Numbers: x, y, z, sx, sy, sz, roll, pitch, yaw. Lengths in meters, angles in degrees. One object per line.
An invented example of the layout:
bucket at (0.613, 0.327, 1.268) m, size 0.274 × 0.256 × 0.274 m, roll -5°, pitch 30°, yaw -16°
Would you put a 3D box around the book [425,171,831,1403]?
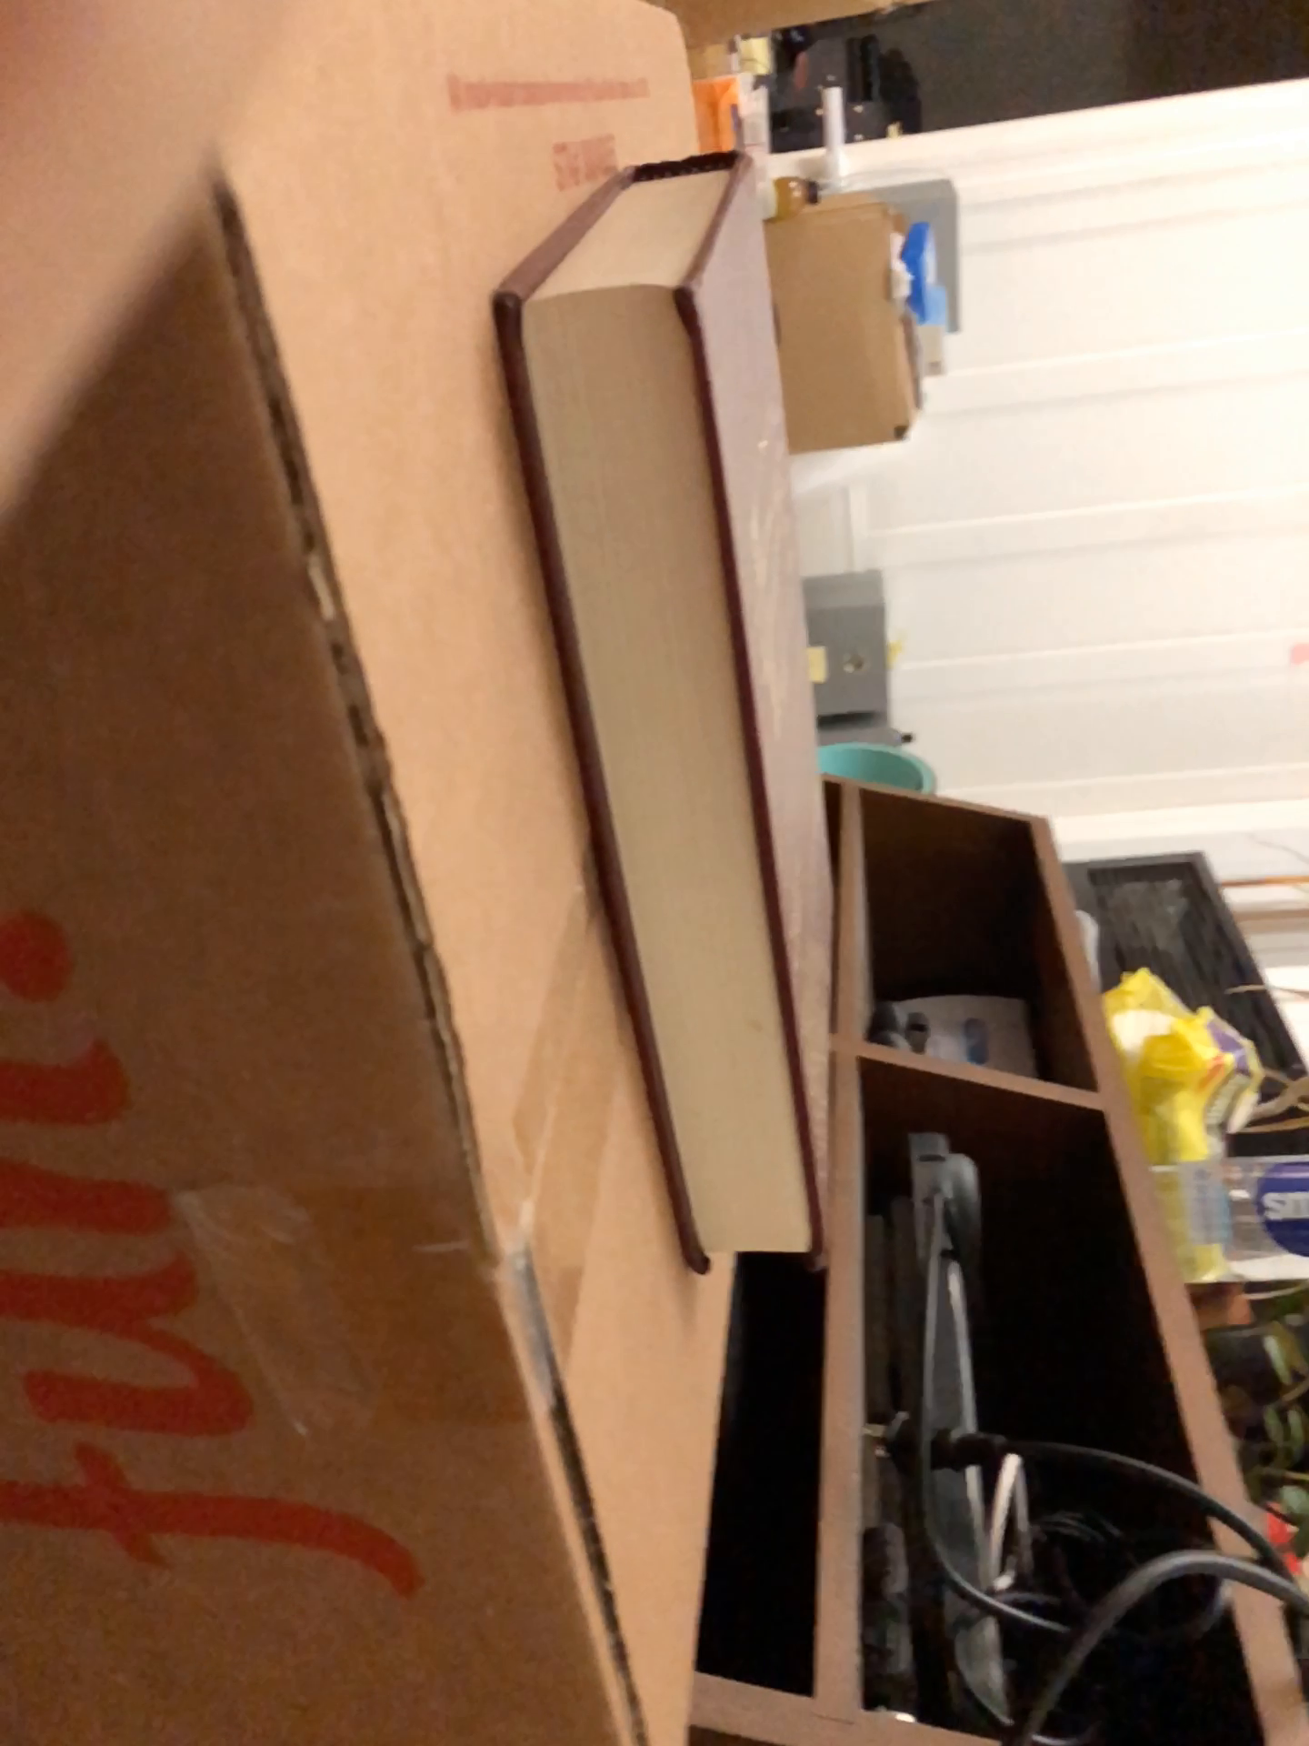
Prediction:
book at (0.013, -0.028, 0.358) m, size 0.191 × 0.040 × 0.240 m, roll -79°, pitch 162°, yaw -57°
